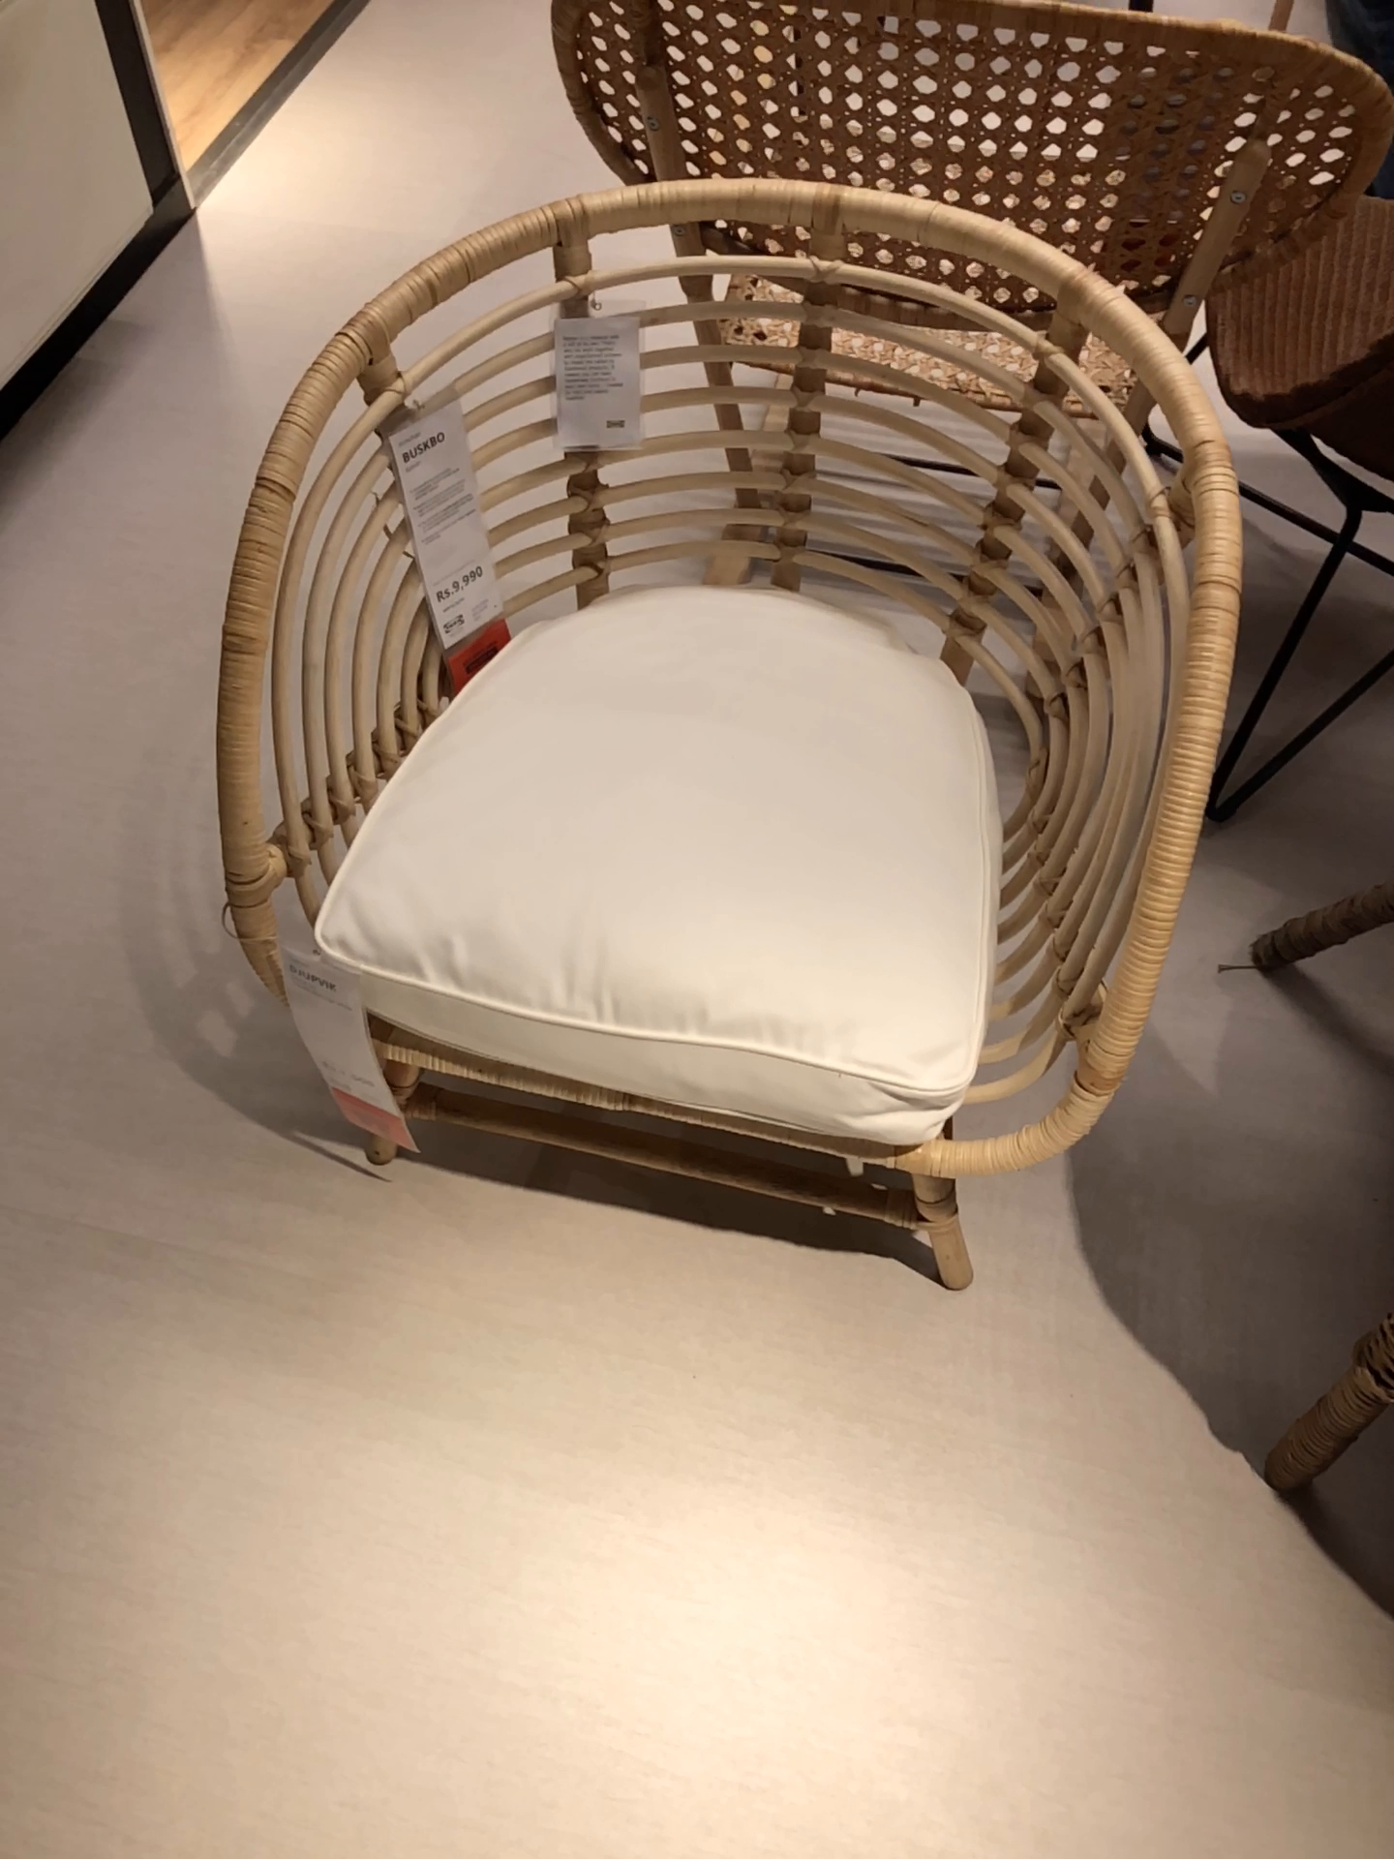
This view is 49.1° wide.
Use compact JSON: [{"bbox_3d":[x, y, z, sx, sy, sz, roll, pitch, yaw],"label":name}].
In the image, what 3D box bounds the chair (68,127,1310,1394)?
[{"bbox_3d":[0.055,-0.128,1.427,0.750,0.825,0.683,11,54,9],"label":"chair"}]
